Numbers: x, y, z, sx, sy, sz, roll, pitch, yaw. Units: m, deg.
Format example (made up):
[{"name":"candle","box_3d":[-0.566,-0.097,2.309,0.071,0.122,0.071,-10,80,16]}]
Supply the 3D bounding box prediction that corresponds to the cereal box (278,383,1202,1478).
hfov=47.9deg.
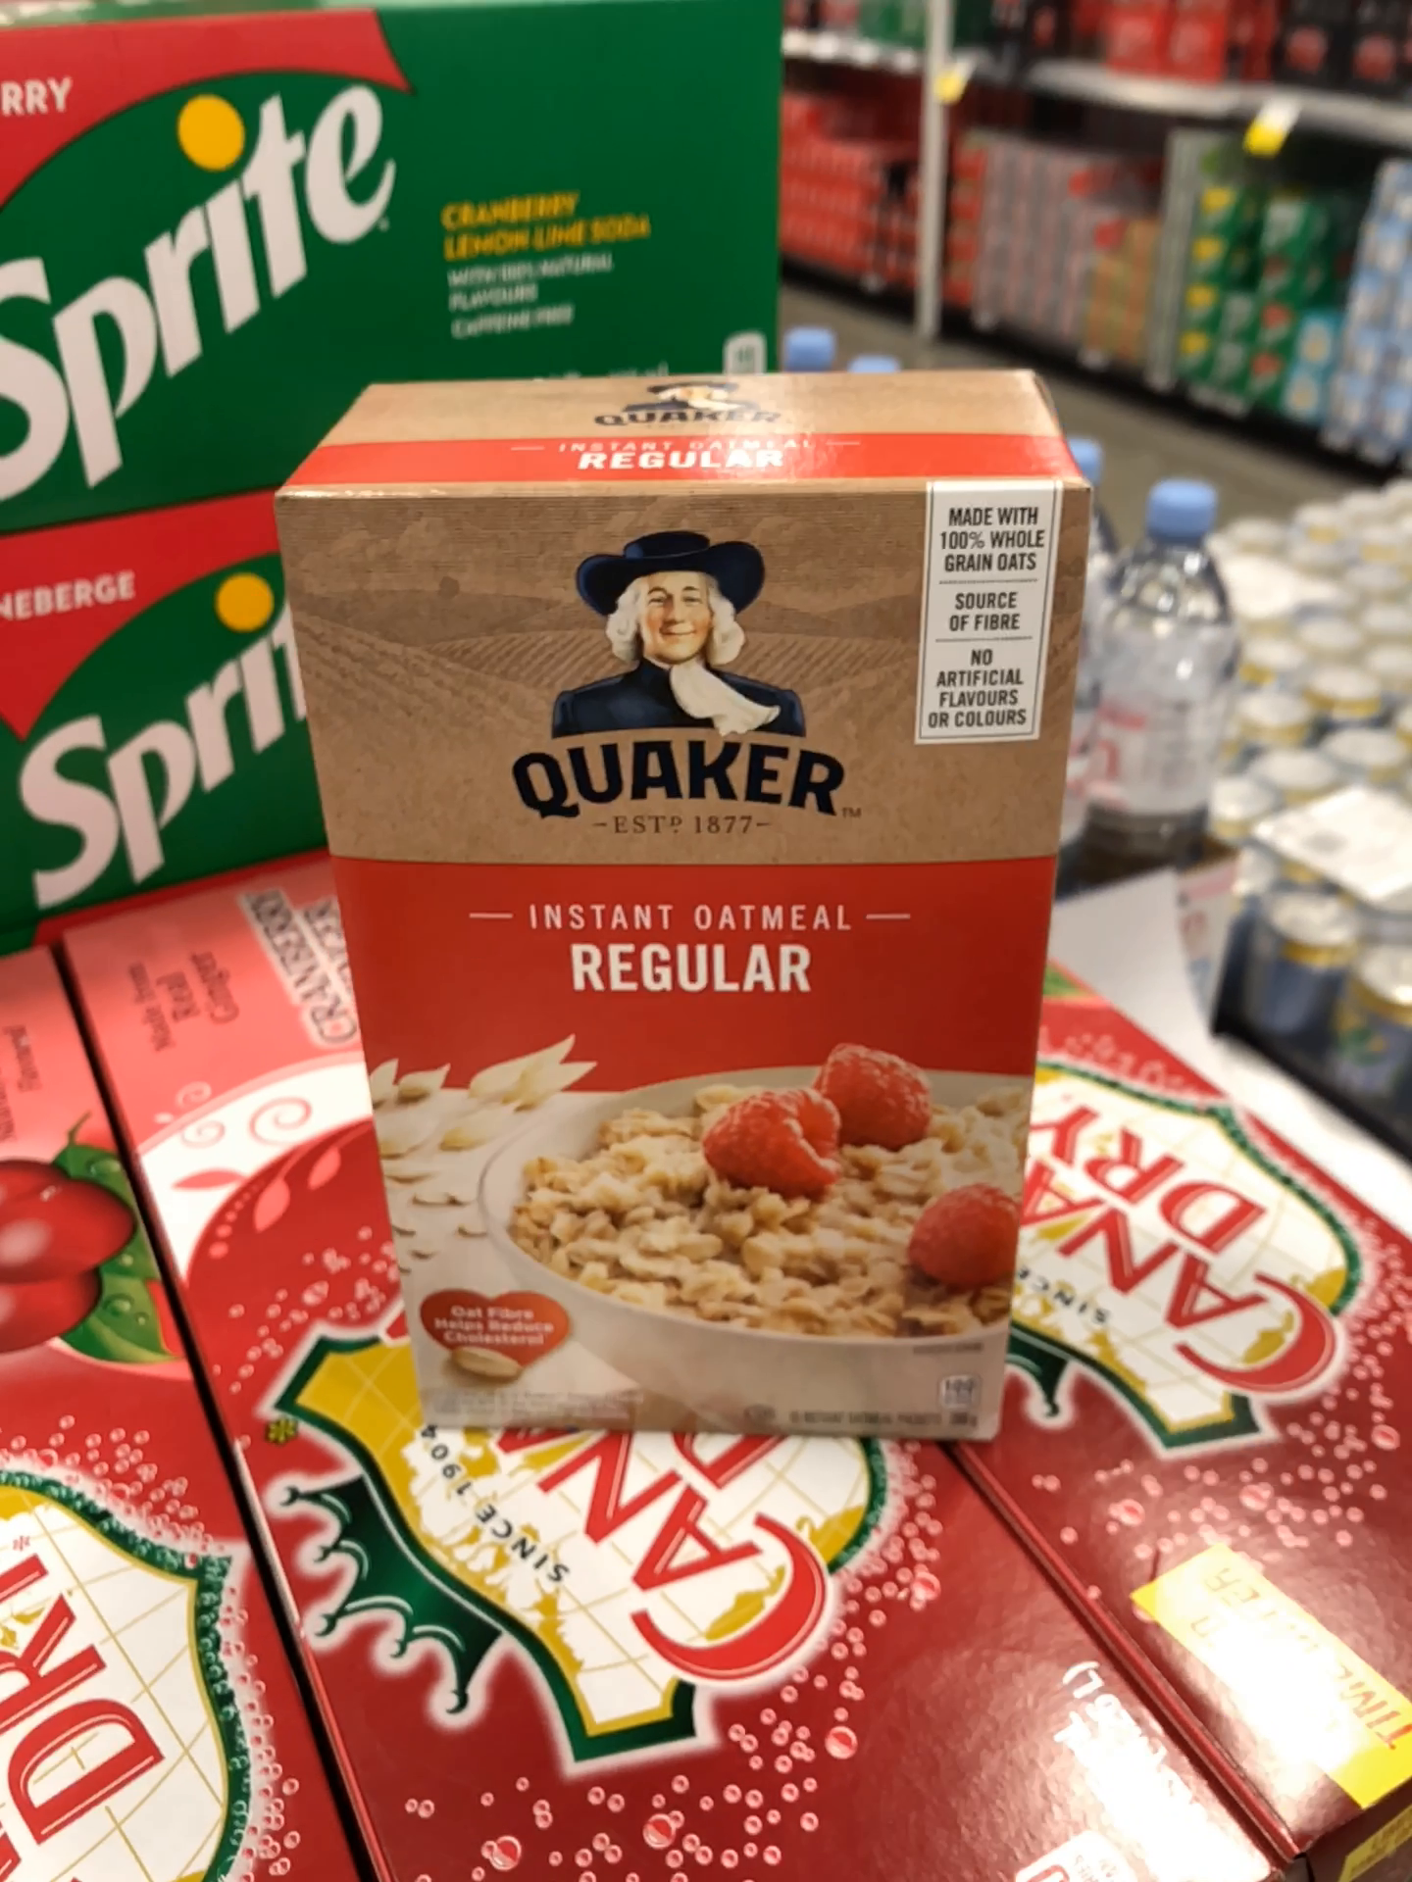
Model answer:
[{"name":"cereal box","box_3d":[0.006,0.004,0.305,0.130,0.199,0.070,1,31,3]}]
